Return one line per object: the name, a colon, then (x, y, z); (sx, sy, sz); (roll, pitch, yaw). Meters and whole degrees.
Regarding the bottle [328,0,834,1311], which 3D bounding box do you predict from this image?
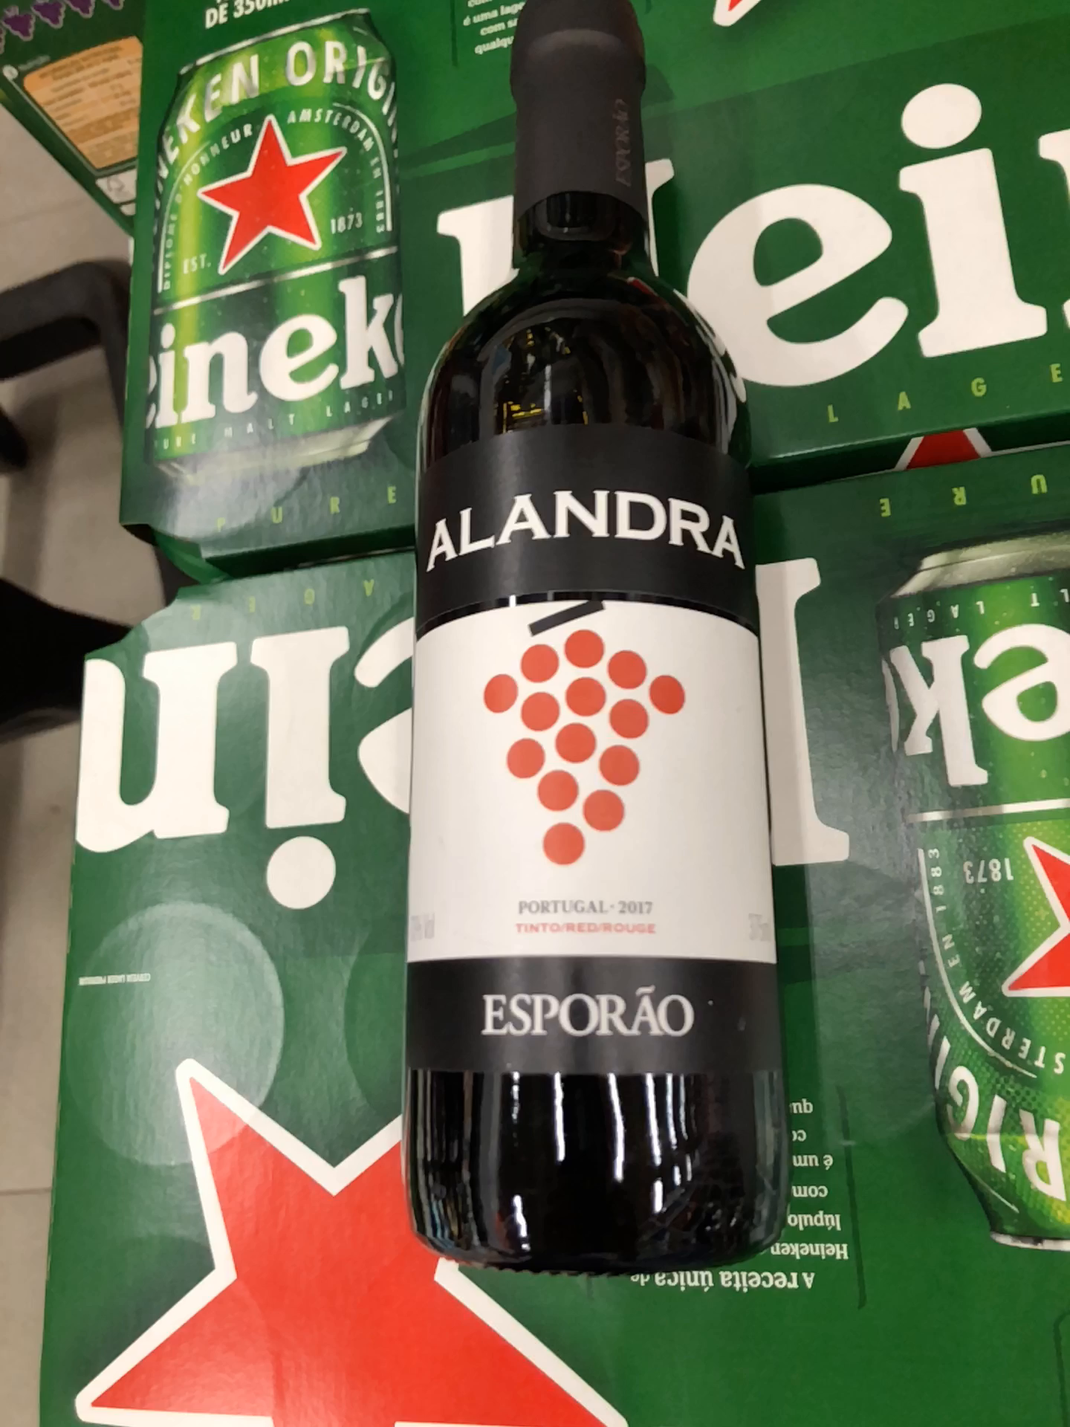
bottle: (0.005, -0.037, 0.202); (0.060, 0.060, 0.240); (-2, 75, 4)
